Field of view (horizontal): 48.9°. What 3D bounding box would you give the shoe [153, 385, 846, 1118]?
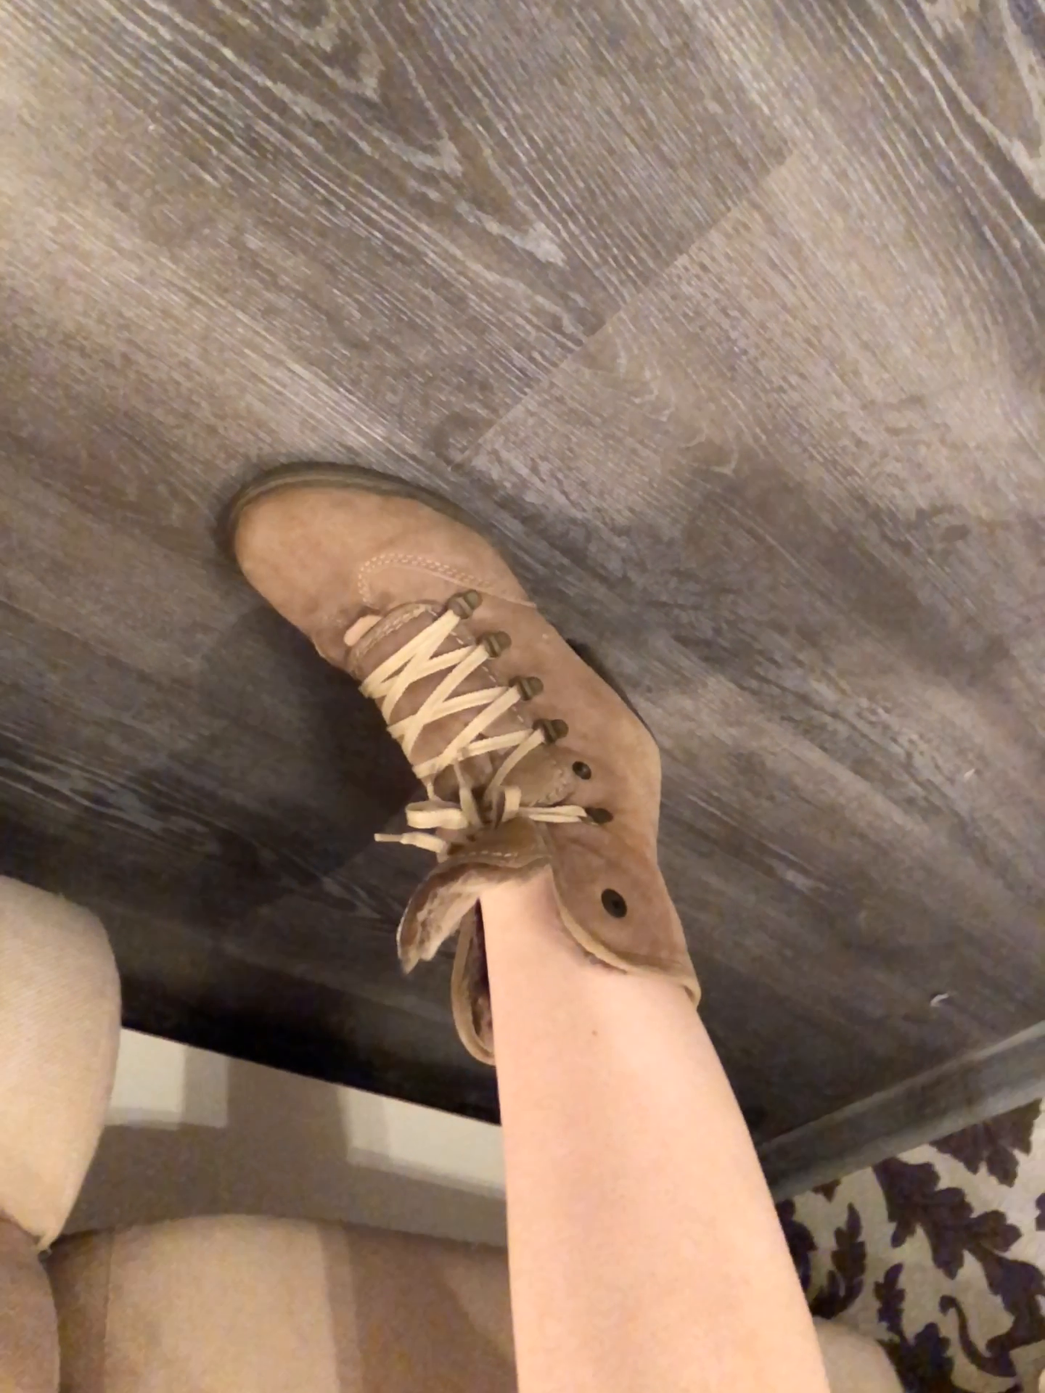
[{"bbox_3d":[-0.002,0.039,0.525,0.110,0.209,0.291,-34,133,26],"label":"shoe"}]
